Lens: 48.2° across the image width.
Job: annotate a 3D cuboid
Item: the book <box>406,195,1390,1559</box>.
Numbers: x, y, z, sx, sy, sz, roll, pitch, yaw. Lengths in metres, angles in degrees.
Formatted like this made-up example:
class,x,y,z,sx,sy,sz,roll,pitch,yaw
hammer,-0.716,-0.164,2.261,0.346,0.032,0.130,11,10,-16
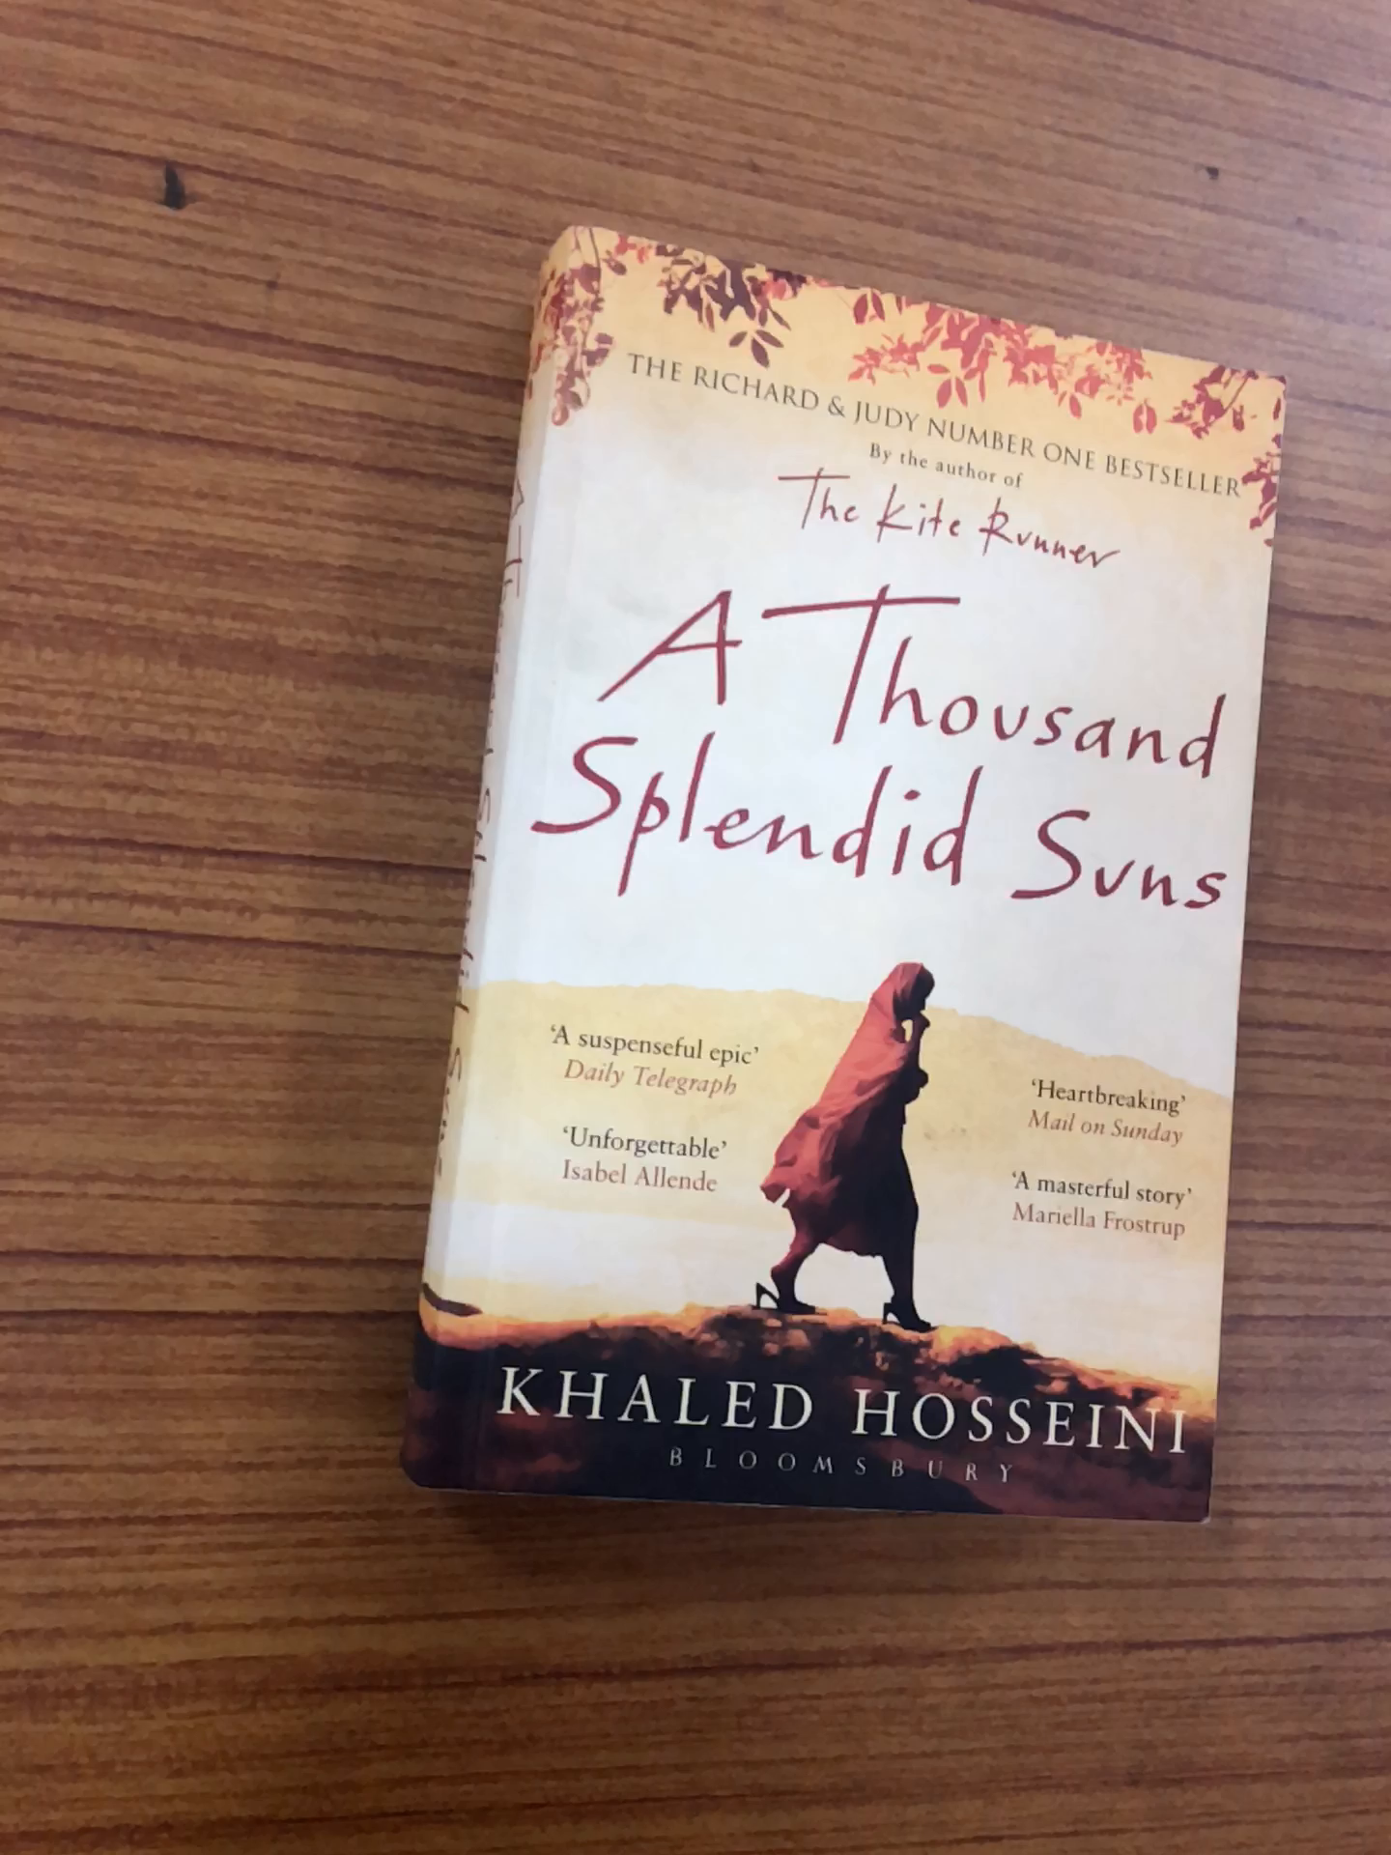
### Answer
class,x,y,z,sx,sy,sz,roll,pitch,yaw
book,0.037,-0.003,0.249,0.140,0.030,0.190,7,85,-14
